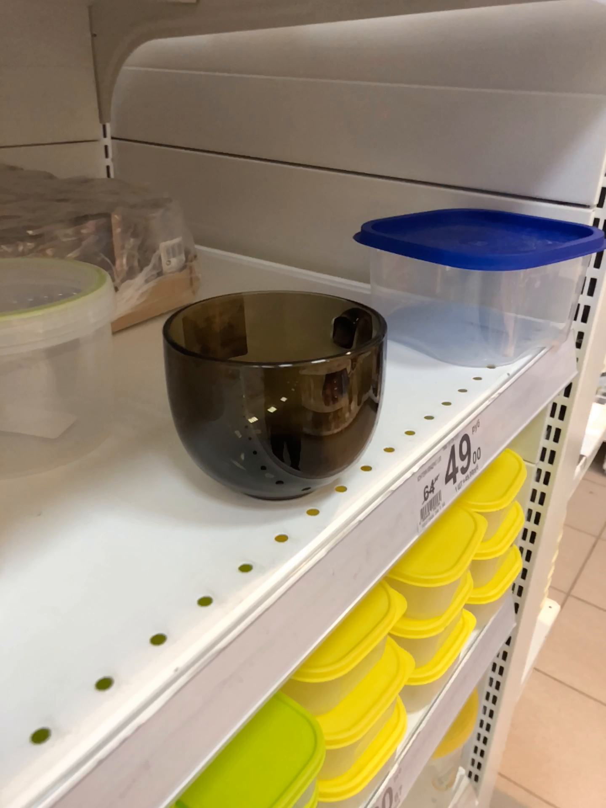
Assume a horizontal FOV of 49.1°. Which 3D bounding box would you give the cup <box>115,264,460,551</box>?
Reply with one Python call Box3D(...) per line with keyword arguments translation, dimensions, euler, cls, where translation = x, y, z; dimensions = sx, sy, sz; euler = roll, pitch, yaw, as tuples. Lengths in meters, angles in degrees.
Box3D(translation=(-0.002, -0.011, 0.330), dimensions=(0.105, 0.071, 0.136), euler=(18, 31, 29), cls="cup")
